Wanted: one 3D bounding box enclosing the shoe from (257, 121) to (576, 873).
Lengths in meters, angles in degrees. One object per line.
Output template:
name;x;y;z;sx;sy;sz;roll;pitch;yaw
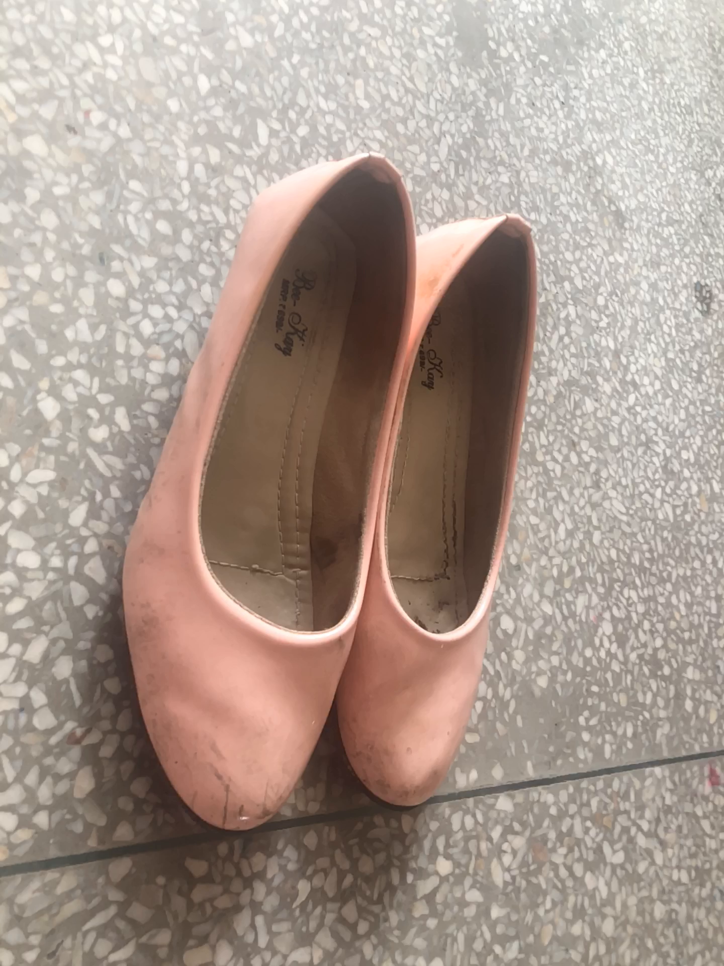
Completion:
shoe;0.026;0.005;0.328;0.090;0.070;0.260;12;78;-36

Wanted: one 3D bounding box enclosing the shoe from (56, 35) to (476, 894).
shoe;-0.033;-0.004;0.294;0.090;0.070;0.260;12;85;-36
